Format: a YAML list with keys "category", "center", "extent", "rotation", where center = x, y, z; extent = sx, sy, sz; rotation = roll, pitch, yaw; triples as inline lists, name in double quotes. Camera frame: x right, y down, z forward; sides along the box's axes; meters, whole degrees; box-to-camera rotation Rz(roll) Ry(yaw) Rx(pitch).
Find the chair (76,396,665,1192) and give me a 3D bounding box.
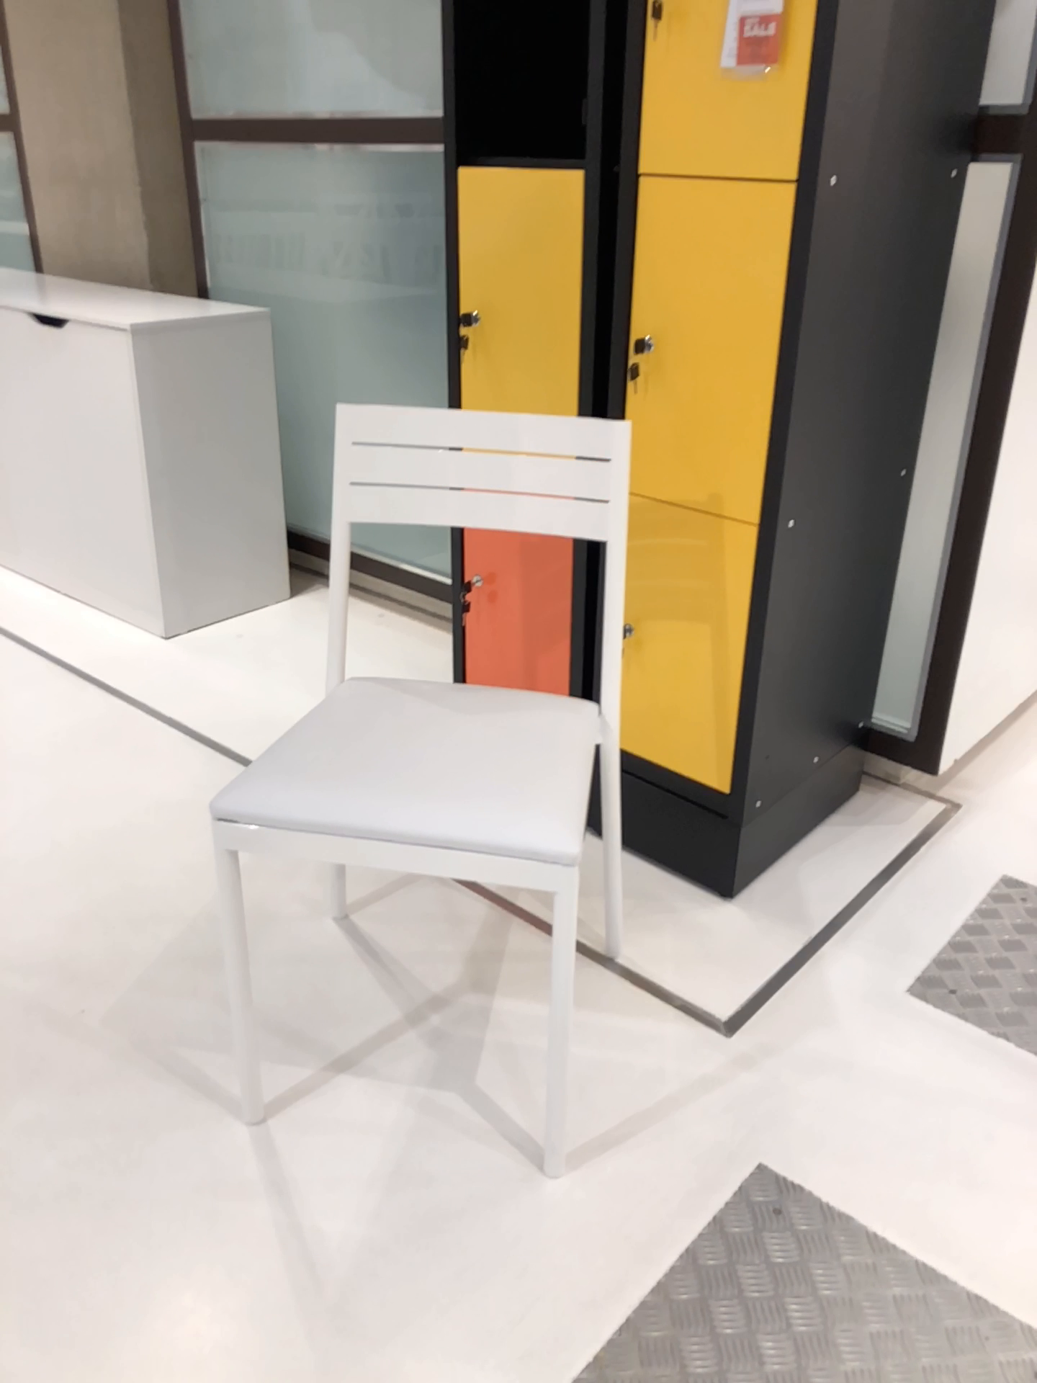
- category: "chair"
  center: [-0.112, 0.079, 1.368]
  extent: [0.480, 0.735, 0.534]
  rotation: [6, 26, 11]
